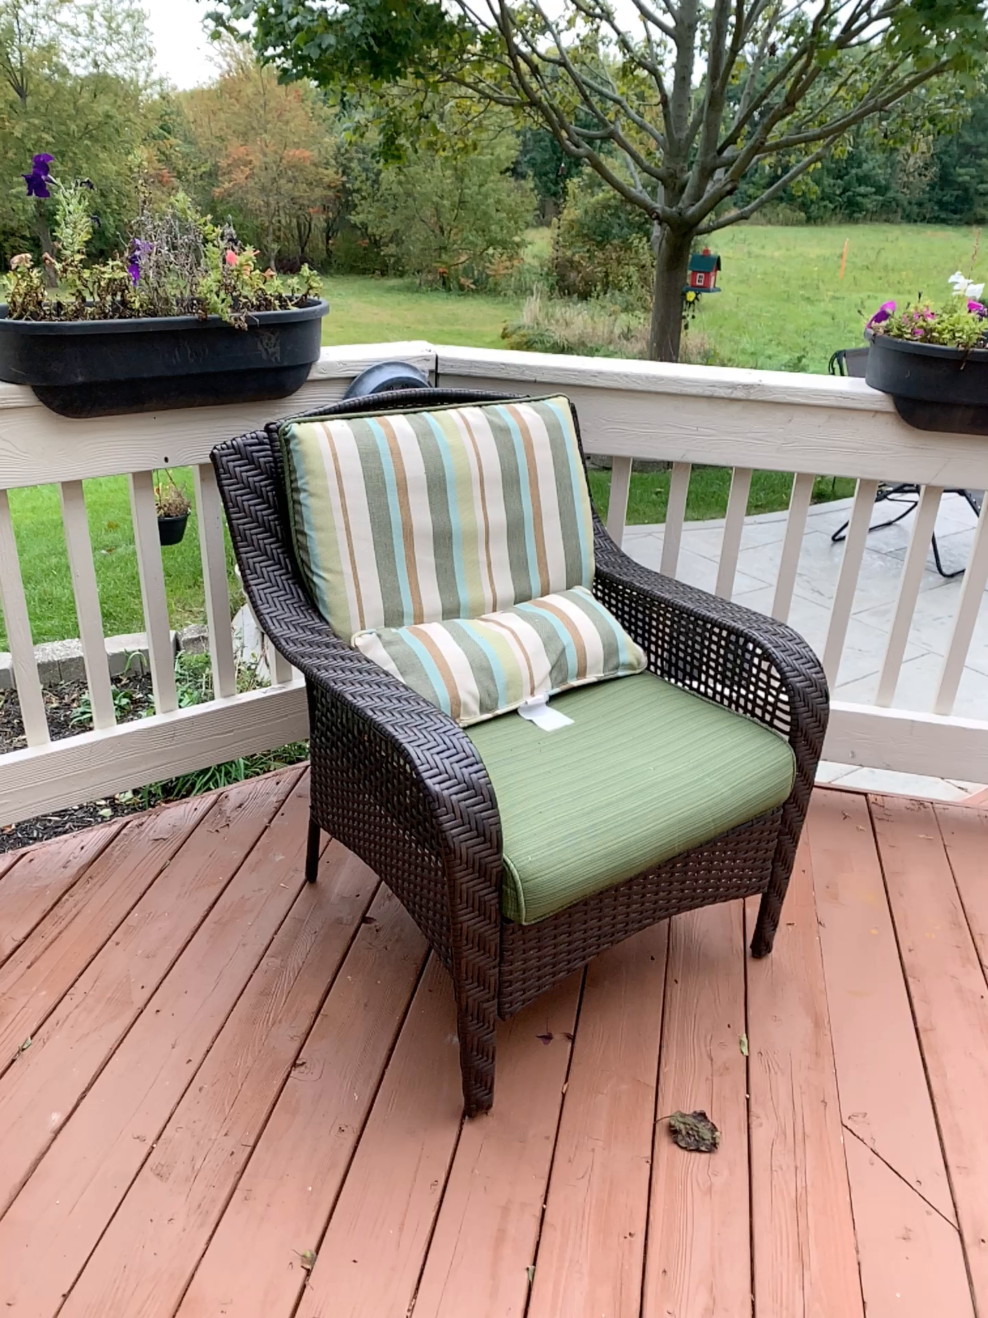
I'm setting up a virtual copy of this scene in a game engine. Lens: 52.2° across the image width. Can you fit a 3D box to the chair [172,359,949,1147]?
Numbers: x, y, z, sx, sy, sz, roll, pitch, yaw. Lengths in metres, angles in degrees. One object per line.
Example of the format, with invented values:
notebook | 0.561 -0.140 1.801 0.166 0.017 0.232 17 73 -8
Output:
chair | 0.051 0.018 1.689 0.813 0.824 0.861 -15 30 -32
